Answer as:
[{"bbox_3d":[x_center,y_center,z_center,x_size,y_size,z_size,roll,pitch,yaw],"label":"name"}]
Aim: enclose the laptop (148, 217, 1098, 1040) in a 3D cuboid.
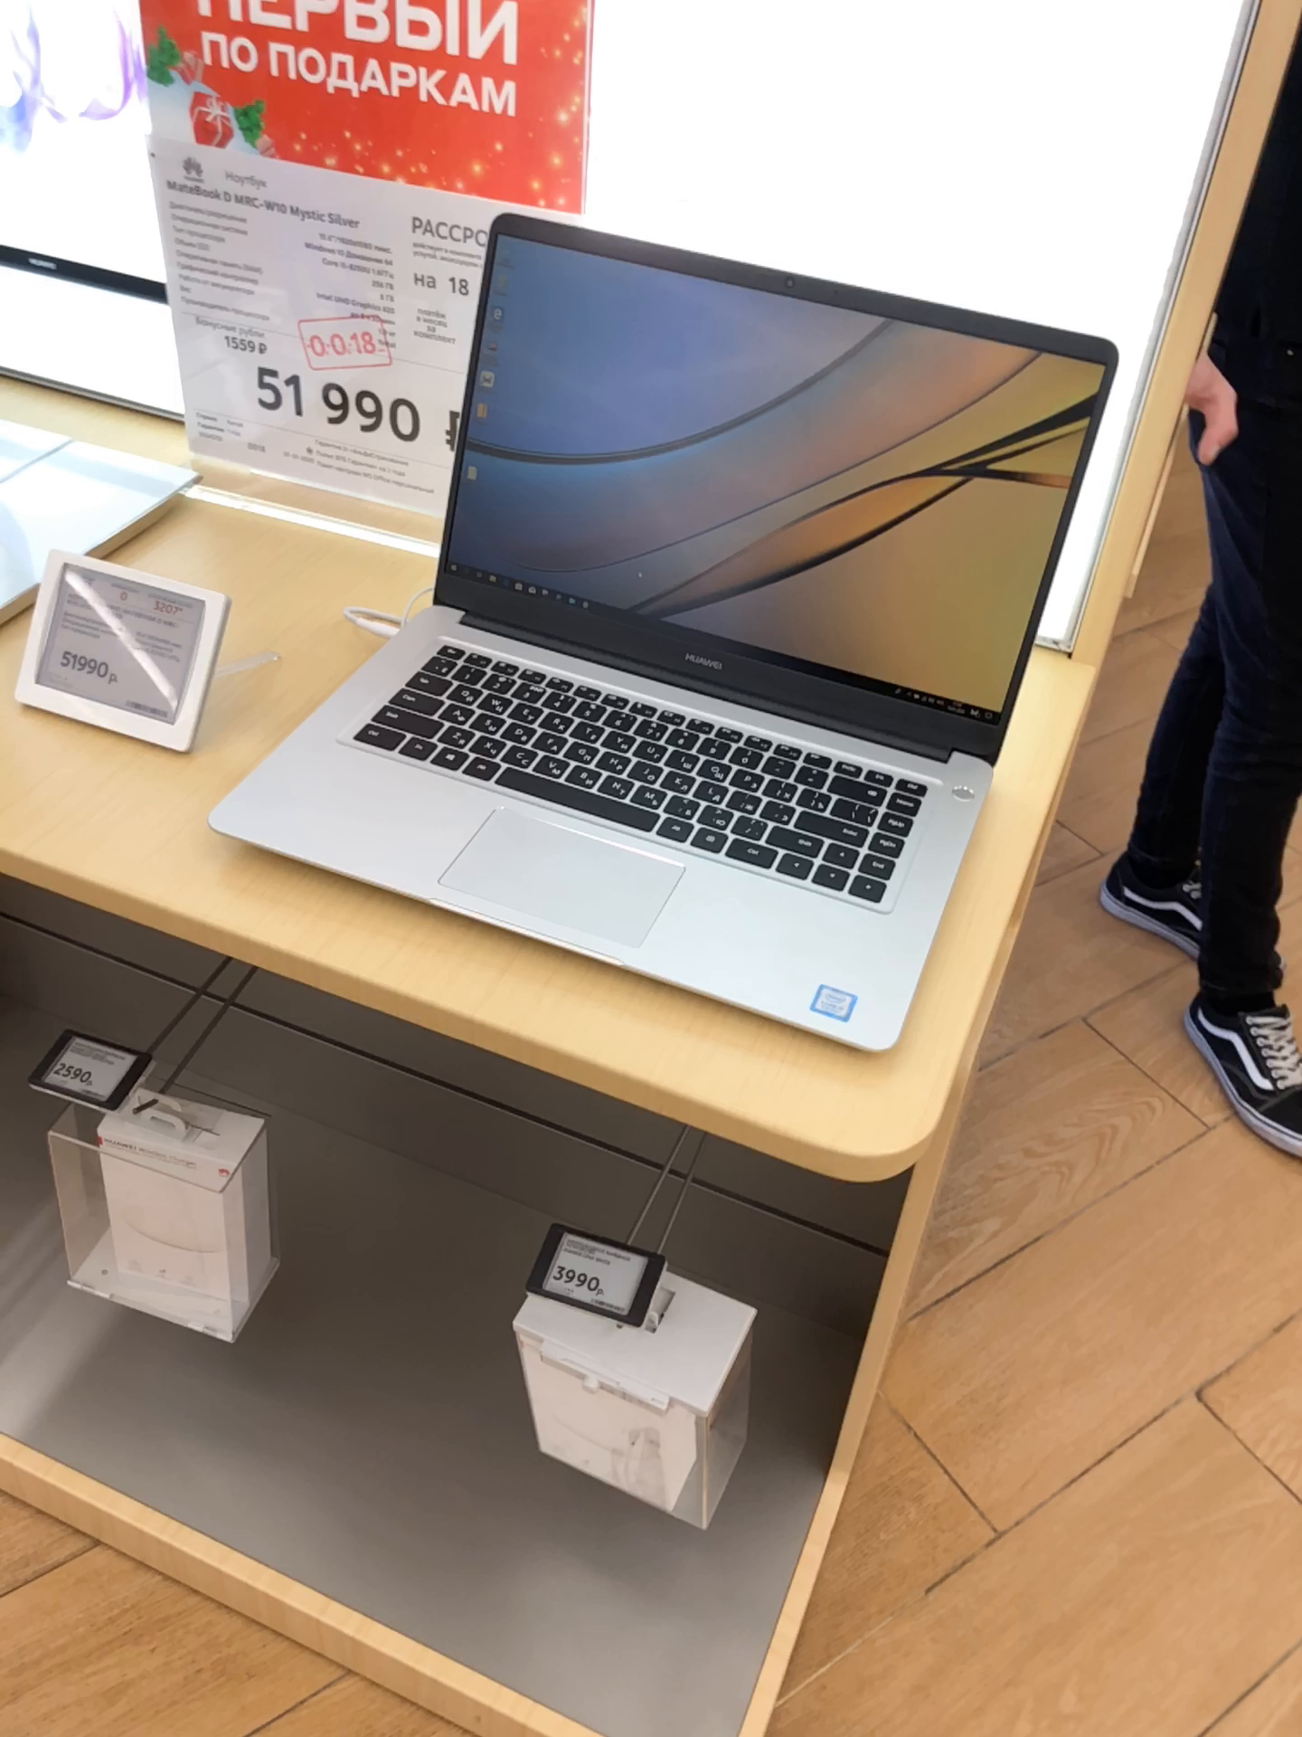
[{"bbox_3d":[0.006,-0.143,0.709,0.340,0.204,0.307,18,42,13],"label":"laptop"}]
